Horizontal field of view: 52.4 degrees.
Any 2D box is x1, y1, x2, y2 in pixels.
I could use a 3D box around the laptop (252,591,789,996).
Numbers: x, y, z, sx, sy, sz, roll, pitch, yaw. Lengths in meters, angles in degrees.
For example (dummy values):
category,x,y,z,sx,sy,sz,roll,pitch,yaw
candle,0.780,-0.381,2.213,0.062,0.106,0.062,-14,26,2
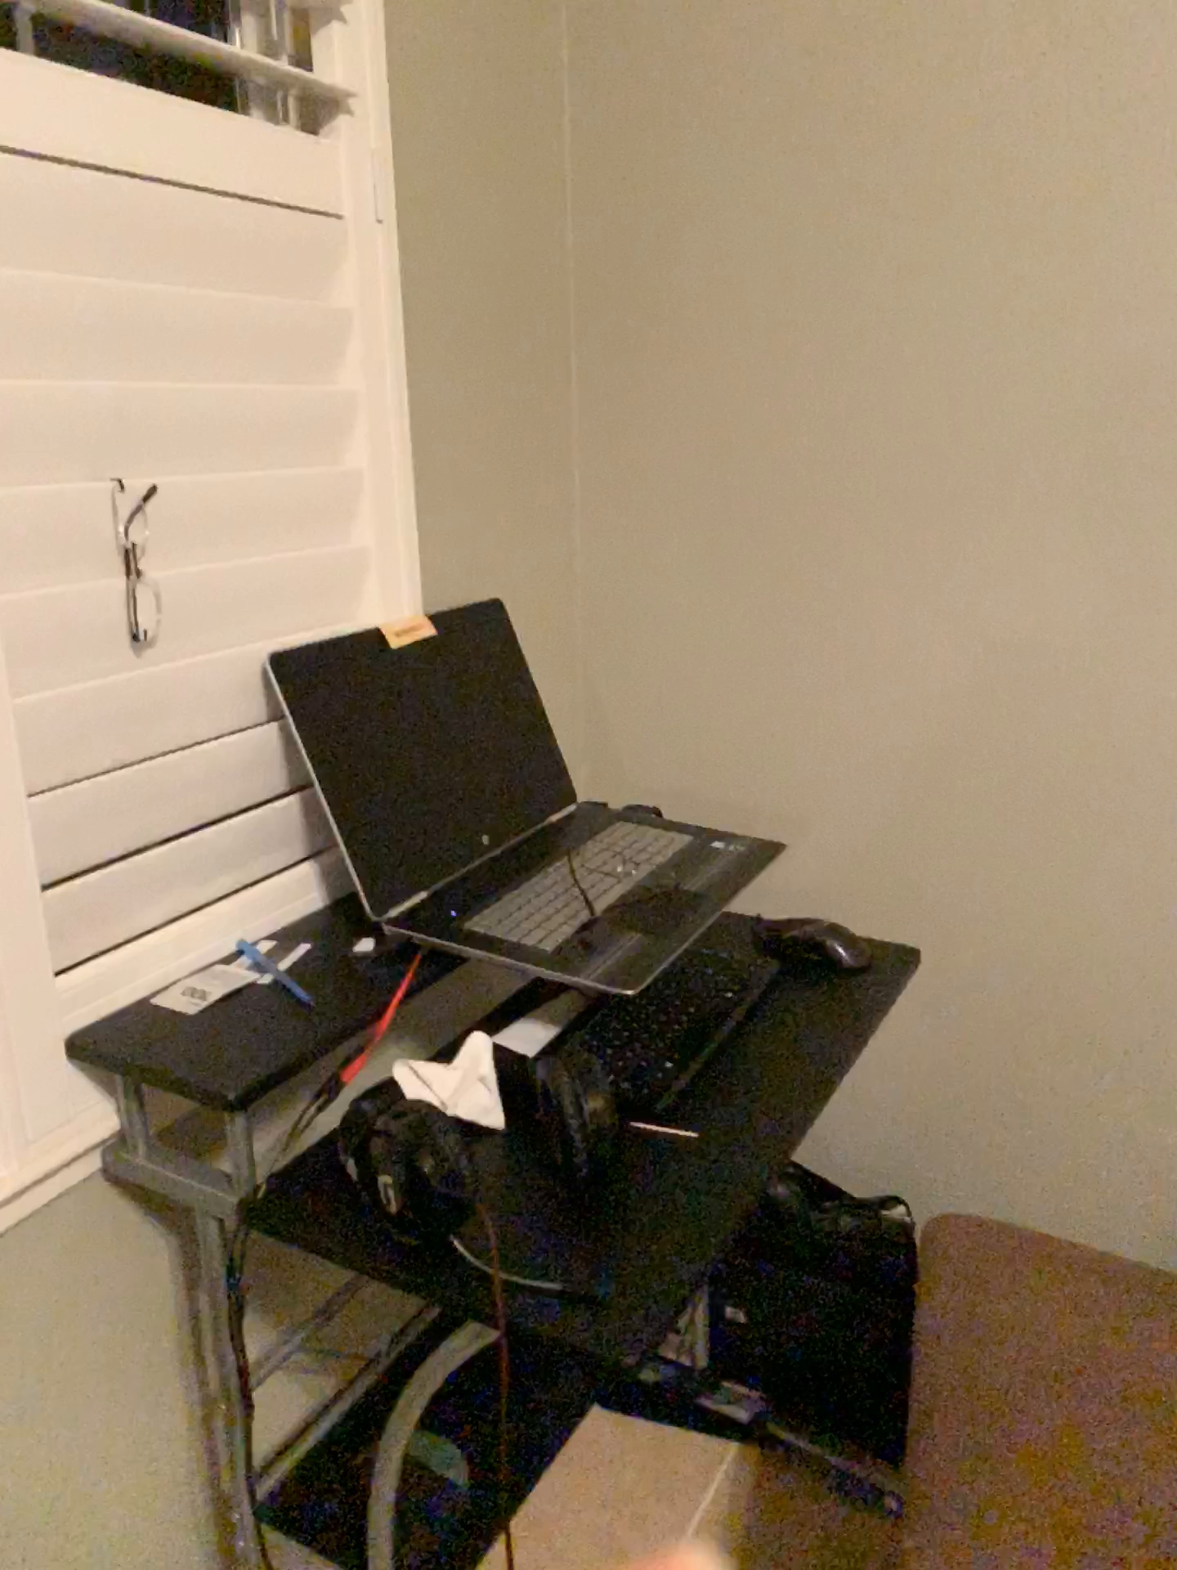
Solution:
category,x,y,z,sx,sy,sz,roll,pitch,yaw
laptop,-0.049,-0.031,1.328,0.418,0.264,0.434,10,19,26
